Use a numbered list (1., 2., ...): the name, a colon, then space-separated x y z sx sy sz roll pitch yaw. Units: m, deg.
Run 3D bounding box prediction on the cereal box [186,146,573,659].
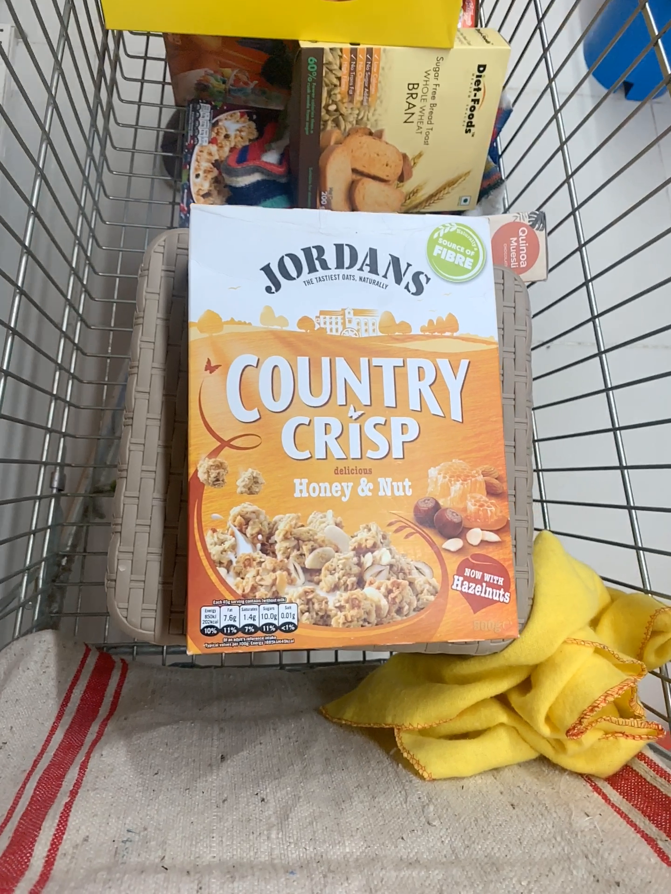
1. cereal box: 0.017 -0.022 0.393 0.190 0.080 0.260 1 80 -9
